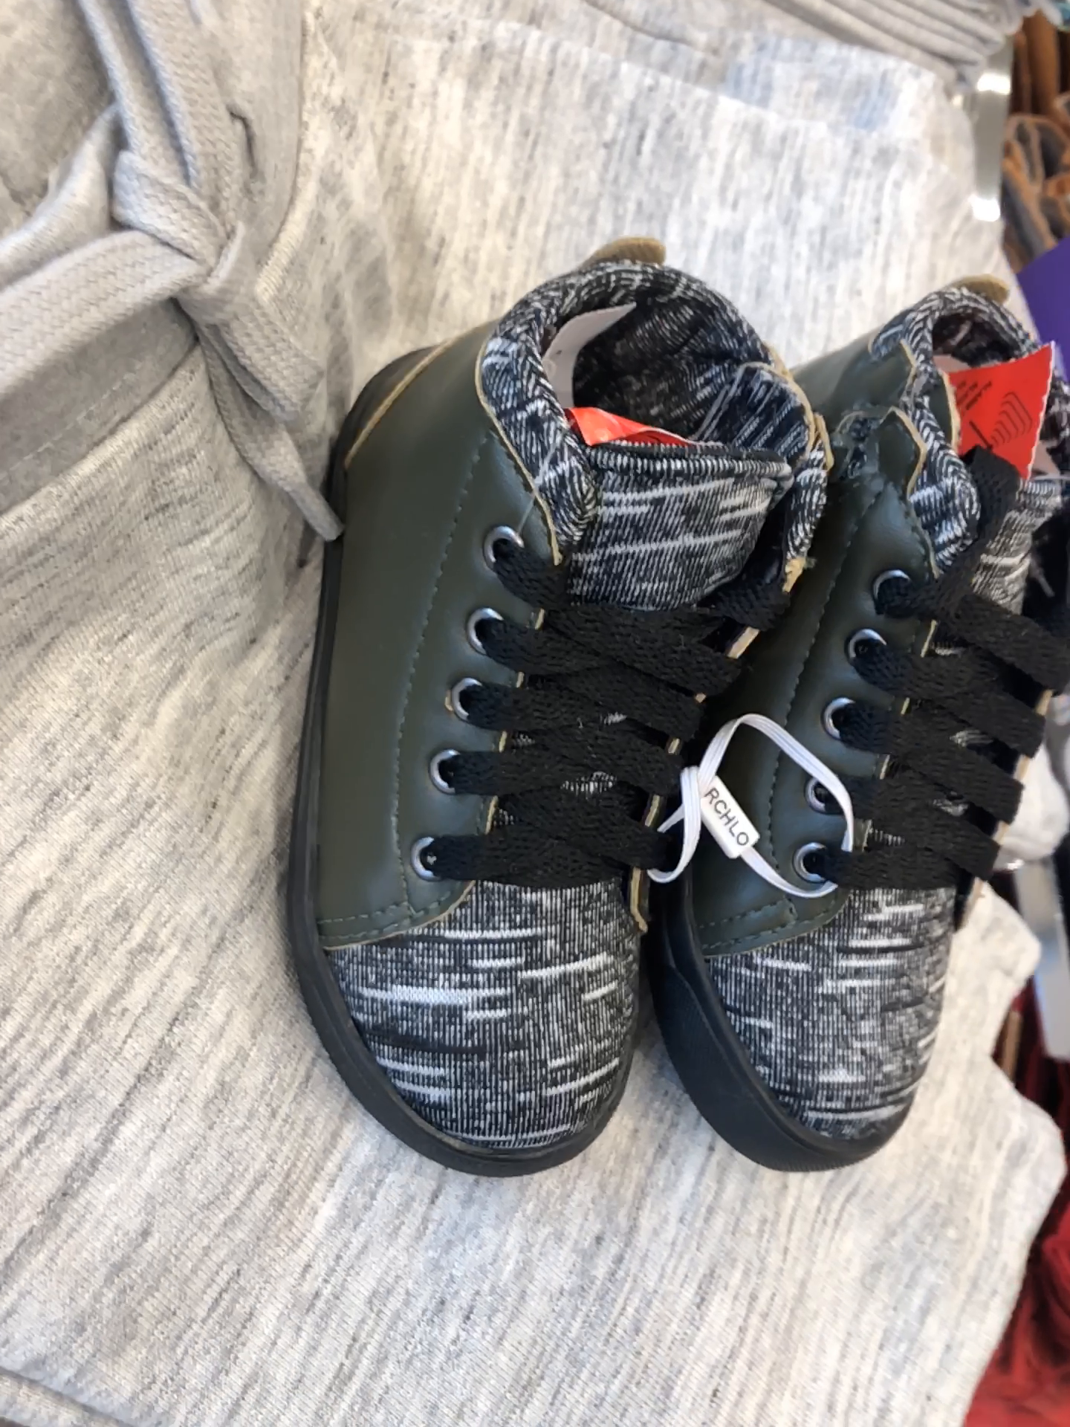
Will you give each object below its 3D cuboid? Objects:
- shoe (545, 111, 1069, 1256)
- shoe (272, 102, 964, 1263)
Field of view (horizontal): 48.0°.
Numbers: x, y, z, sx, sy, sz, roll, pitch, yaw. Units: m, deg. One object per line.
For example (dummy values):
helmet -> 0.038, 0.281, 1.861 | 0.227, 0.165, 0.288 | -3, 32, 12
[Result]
shoe -> 0.066, -0.002, 0.230 | 0.080, 0.090, 0.170 | 1, 76, -27
shoe -> 0.004, -0.001, 0.217 | 0.080, 0.090, 0.160 | 4, 75, -27
